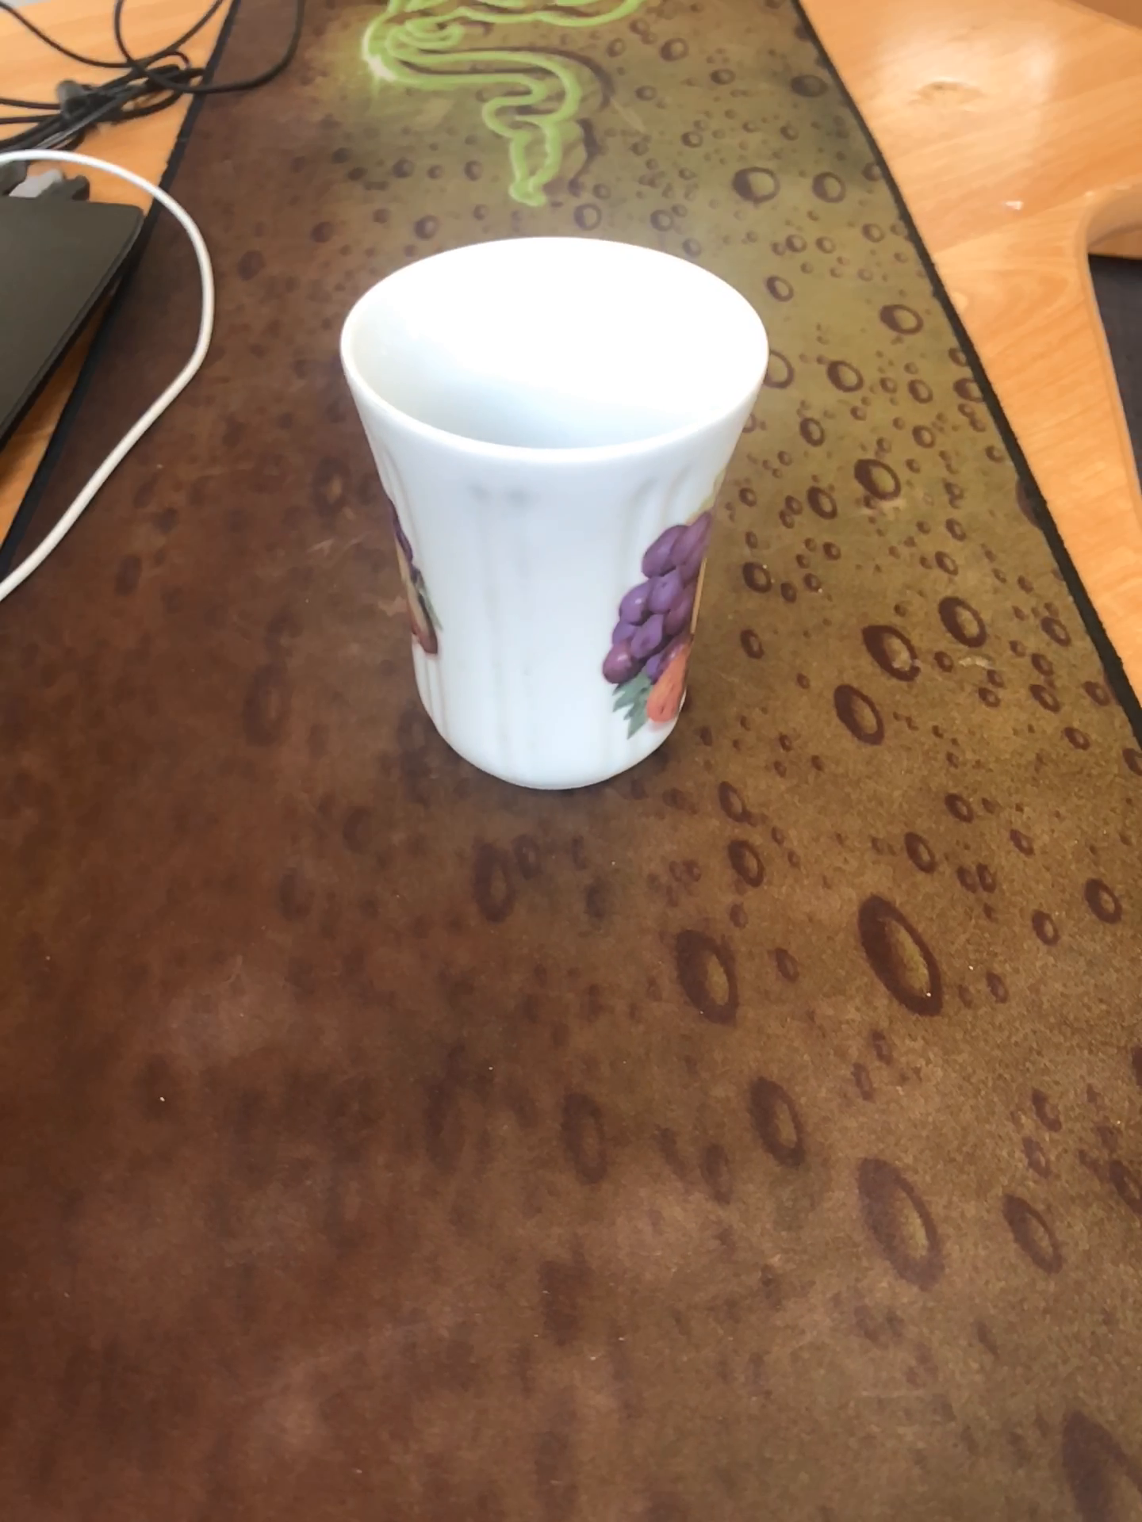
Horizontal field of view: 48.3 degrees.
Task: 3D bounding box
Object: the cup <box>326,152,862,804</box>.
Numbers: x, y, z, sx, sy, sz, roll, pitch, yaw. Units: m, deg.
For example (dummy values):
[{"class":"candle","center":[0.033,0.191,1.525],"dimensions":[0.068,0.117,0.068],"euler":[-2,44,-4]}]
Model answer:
[{"class":"cup","center":[-0.002,-0.060,0.257],"dimensions":[0.080,0.080,0.100],"euler":[-6,47,-6]}]
